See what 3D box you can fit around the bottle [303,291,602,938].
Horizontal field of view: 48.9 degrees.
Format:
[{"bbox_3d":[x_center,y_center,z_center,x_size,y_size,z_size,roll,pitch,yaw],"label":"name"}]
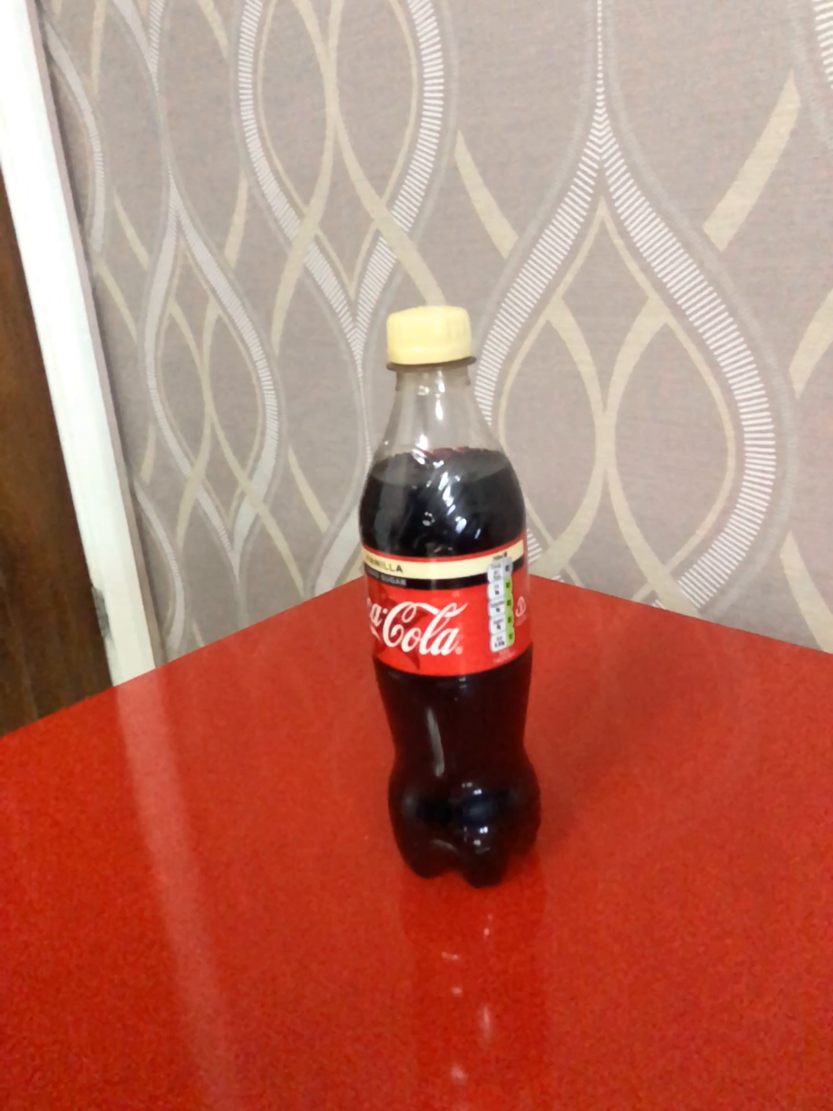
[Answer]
[{"bbox_3d":[0.021,0.021,0.373,0.080,0.239,0.070,-21,25,-38],"label":"bottle"}]
